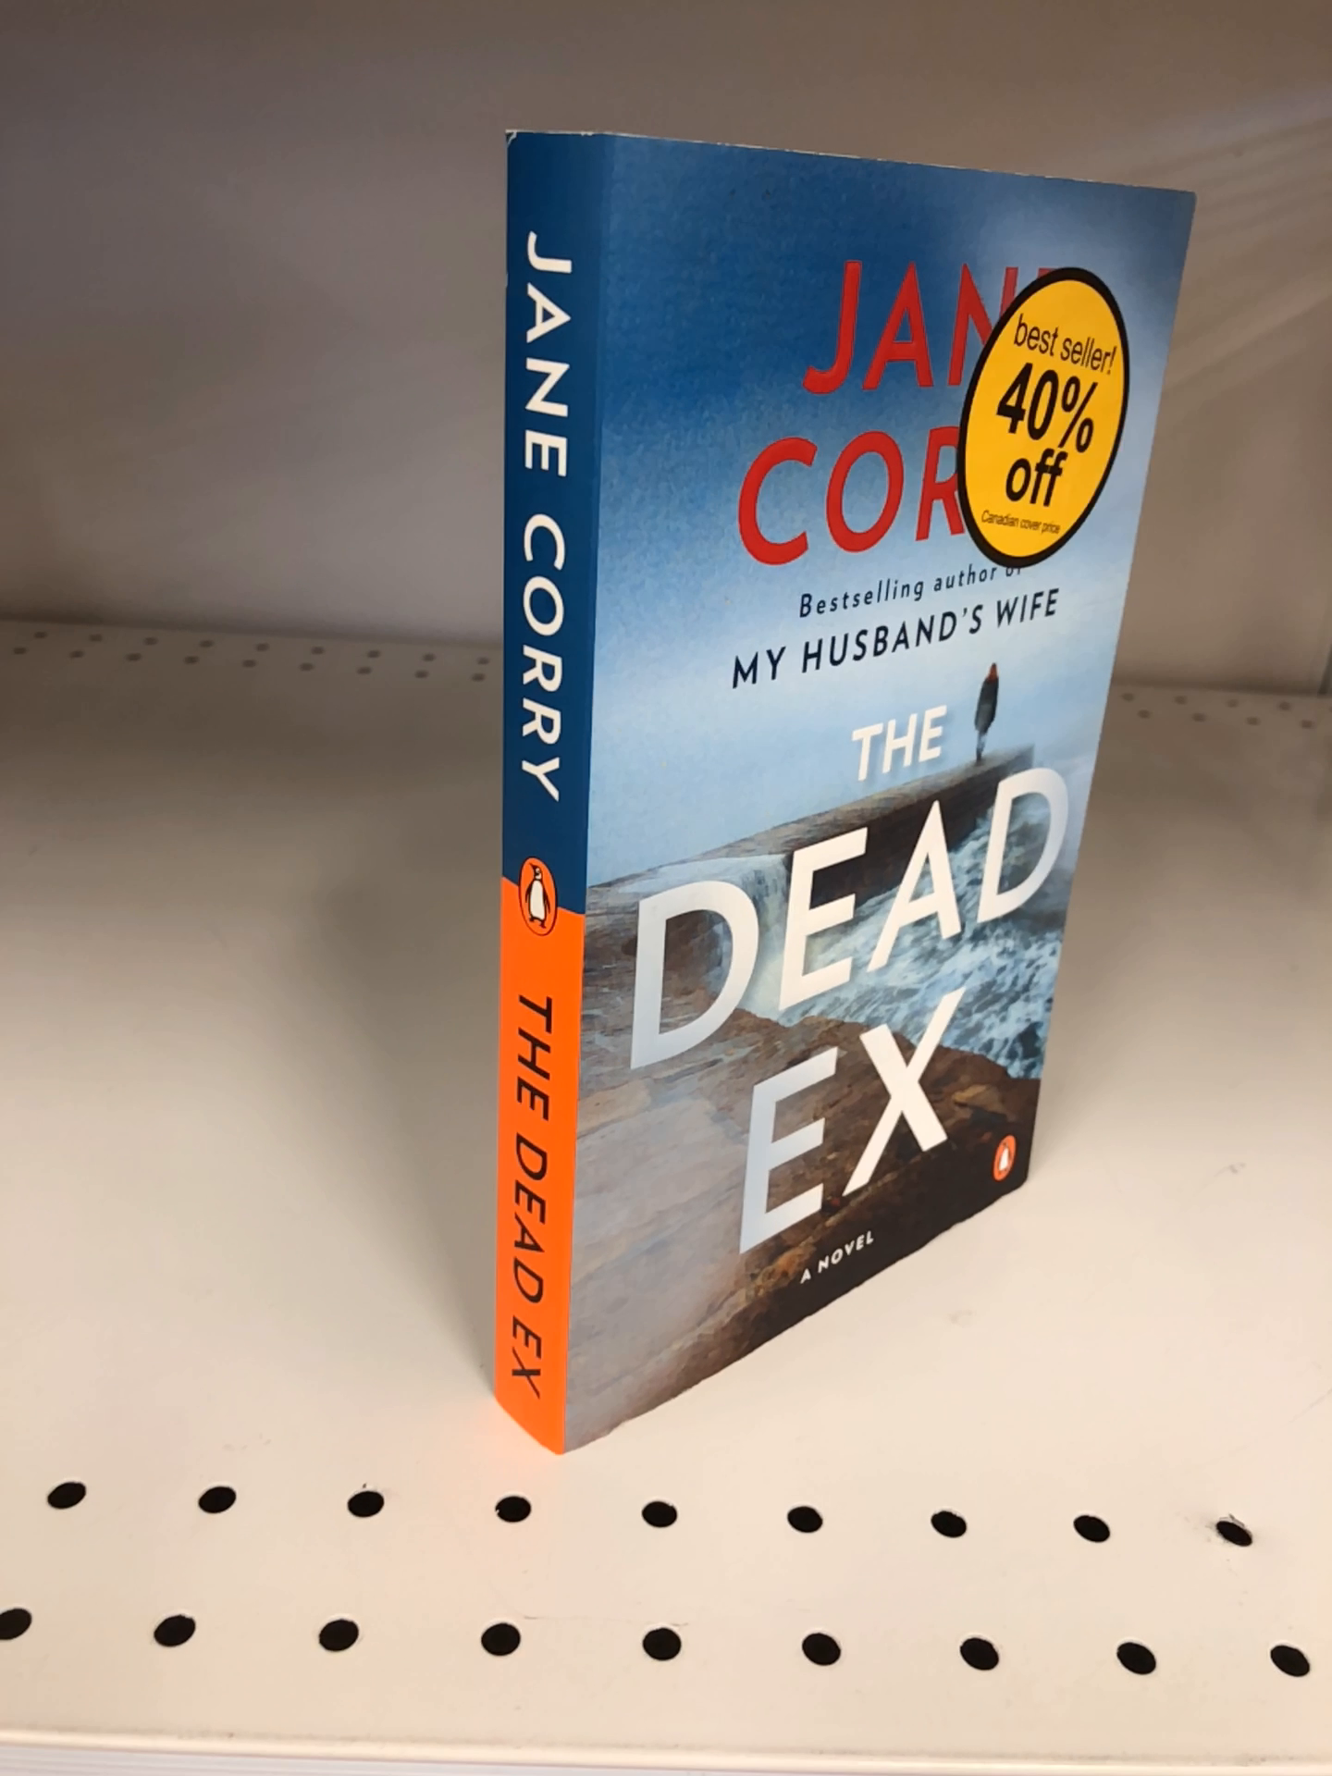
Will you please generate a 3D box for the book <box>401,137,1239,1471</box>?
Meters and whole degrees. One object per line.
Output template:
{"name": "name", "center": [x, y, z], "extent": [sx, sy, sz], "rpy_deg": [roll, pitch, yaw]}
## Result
{"name": "book", "center": [0.028, -0.018, 0.277], "extent": [0.146, 0.211, 0.040], "rpy_deg": [-18, 32, -37]}
